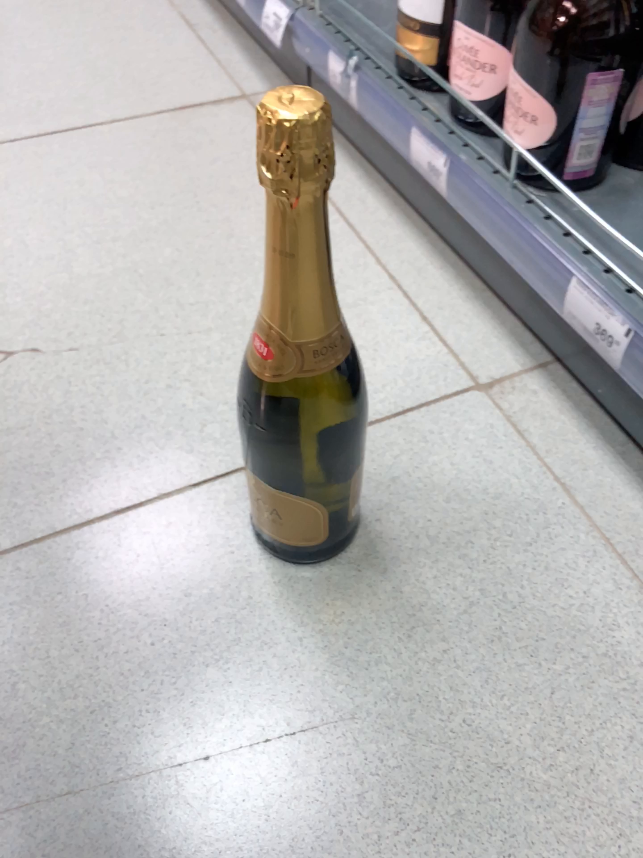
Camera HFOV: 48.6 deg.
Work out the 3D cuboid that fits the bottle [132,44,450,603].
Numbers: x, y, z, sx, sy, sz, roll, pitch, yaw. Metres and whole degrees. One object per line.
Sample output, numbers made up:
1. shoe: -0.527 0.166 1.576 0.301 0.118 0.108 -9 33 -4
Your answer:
1. bottle: -0.016 -0.033 0.421 0.100 0.314 0.100 0 49 0
